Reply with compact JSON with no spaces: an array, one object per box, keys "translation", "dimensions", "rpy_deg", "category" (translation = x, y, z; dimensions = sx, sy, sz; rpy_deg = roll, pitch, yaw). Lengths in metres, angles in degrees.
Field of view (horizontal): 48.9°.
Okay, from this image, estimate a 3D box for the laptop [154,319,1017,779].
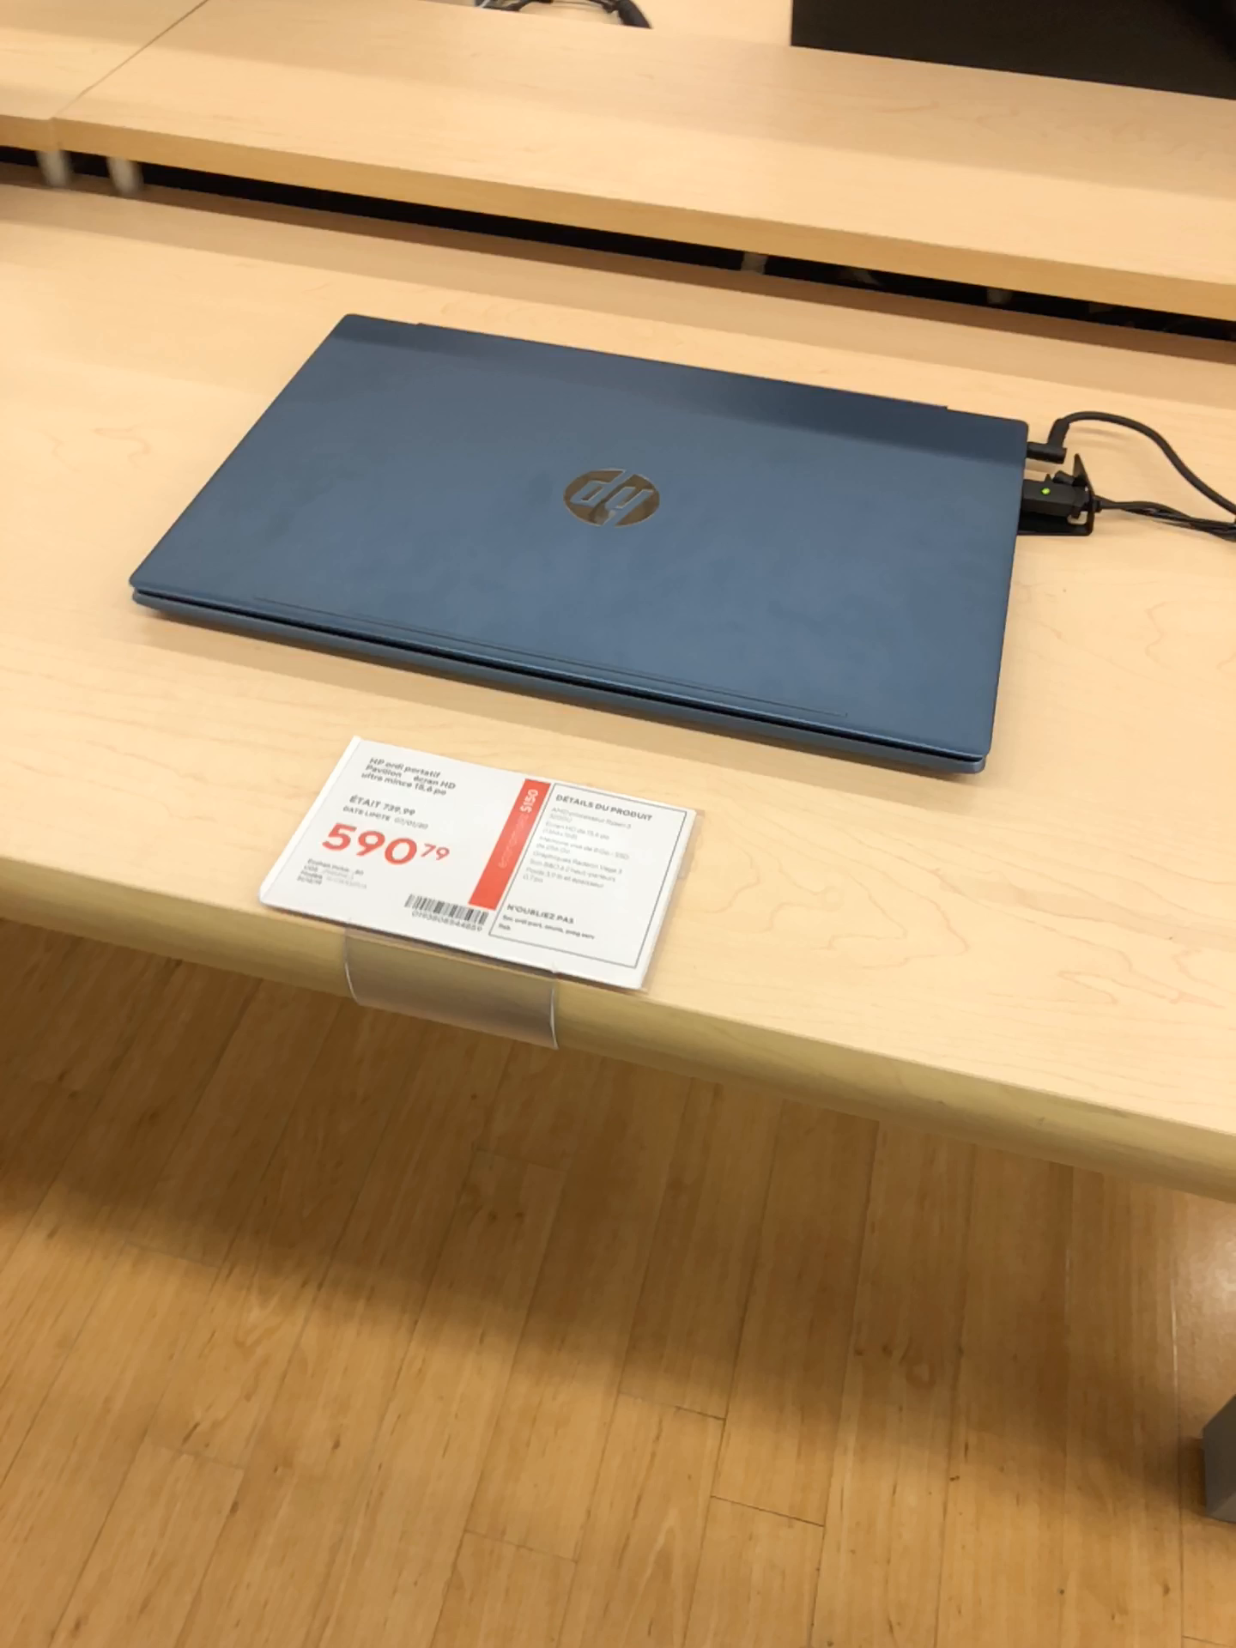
[{"translation":[-0.005,-0.143,0.625],"dimensions":[0.352,0.012,0.221],"rpy_deg":[12,52,11],"category":"laptop"}]
